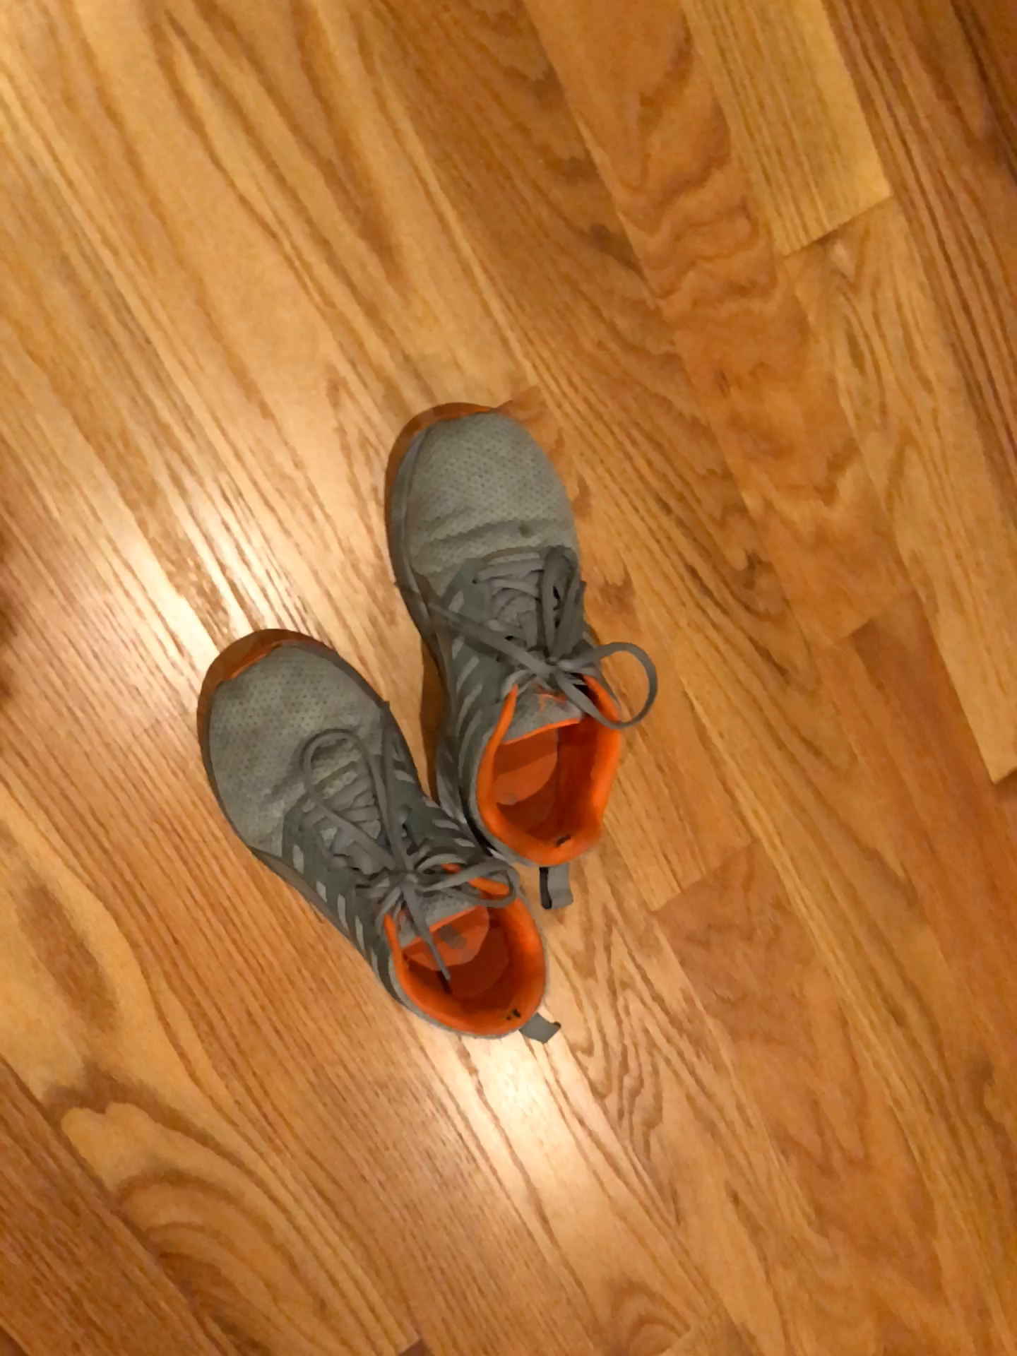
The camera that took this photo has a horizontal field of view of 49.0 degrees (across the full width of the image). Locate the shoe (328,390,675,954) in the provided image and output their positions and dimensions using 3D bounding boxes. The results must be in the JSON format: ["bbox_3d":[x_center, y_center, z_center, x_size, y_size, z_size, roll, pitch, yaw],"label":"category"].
[{"bbox_3d":[-0.004,-0.007,0.570,0.100,0.100,0.250,-16,104,-16],"label":"shoe"}]

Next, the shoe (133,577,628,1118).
[{"bbox_3d":[-0.062,0.084,0.566,0.110,0.080,0.250,-39,109,-10],"label":"shoe"}]
